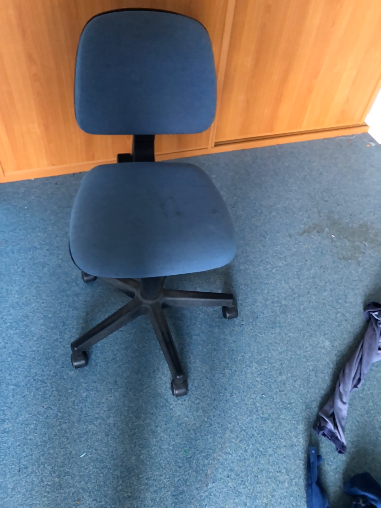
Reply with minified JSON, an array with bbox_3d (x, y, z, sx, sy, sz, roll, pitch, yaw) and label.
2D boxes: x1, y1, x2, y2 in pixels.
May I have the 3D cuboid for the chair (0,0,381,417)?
[{"bbox_3d":[-0.100,-0.116,1.207,0.651,0.915,0.763,-4,51,-10],"label":"chair"}]
